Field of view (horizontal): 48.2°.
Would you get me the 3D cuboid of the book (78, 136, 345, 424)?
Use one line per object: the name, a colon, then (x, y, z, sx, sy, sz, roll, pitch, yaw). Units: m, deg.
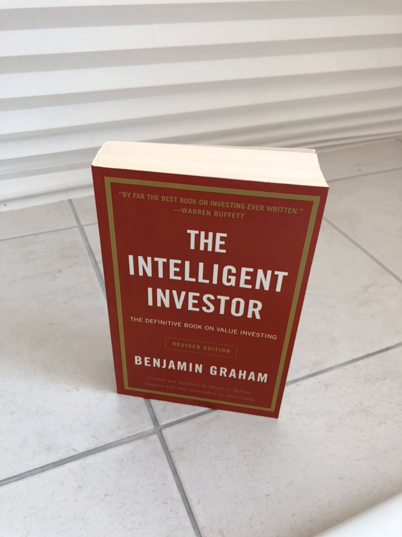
book: (0.005, 0.018, 0.332, 0.149, 0.206, 0.057, 6, 37, 6)
